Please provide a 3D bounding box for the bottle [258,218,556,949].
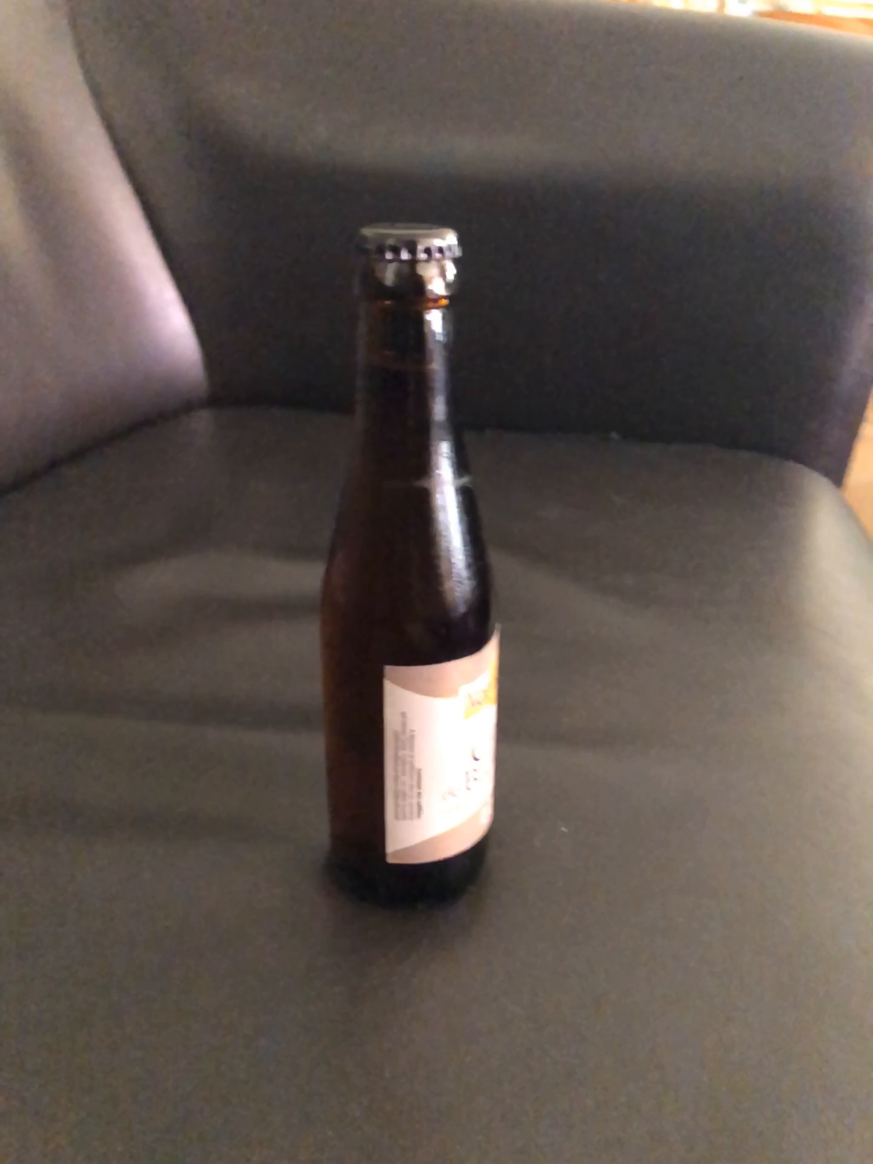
[{"bbox_3d":[-0.005,0.005,0.294,0.060,0.209,0.060,0,26,0],"label":"bottle"}]
